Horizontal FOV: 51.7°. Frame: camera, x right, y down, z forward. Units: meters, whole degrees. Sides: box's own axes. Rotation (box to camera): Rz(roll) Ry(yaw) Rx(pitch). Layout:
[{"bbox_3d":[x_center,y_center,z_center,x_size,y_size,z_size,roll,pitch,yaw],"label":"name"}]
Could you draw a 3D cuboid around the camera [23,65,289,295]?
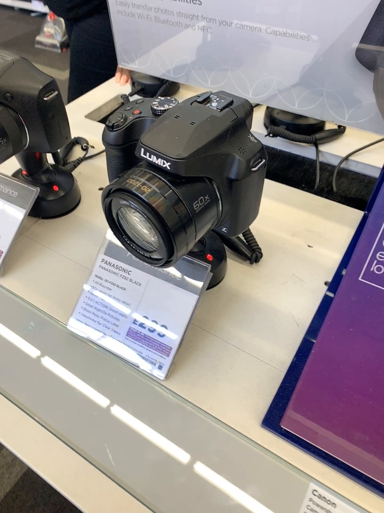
[{"bbox_3d":[-0.021,-0.066,0.293,0.130,0.079,0.121,27,54,24],"label":"camera"}]
